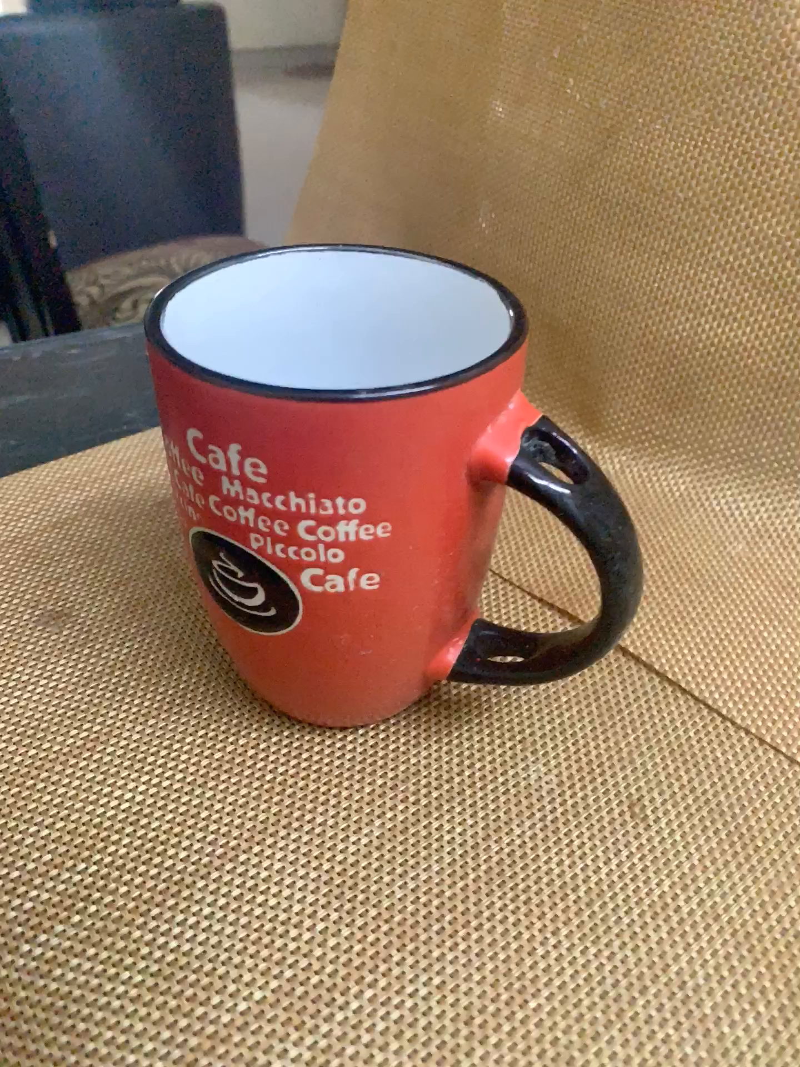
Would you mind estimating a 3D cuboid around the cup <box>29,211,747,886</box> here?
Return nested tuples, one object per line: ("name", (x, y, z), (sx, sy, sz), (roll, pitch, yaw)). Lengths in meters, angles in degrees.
("cup", (0.002, -0.005, 0.201), (0.120, 0.099, 0.091), (17, 39, 18))
